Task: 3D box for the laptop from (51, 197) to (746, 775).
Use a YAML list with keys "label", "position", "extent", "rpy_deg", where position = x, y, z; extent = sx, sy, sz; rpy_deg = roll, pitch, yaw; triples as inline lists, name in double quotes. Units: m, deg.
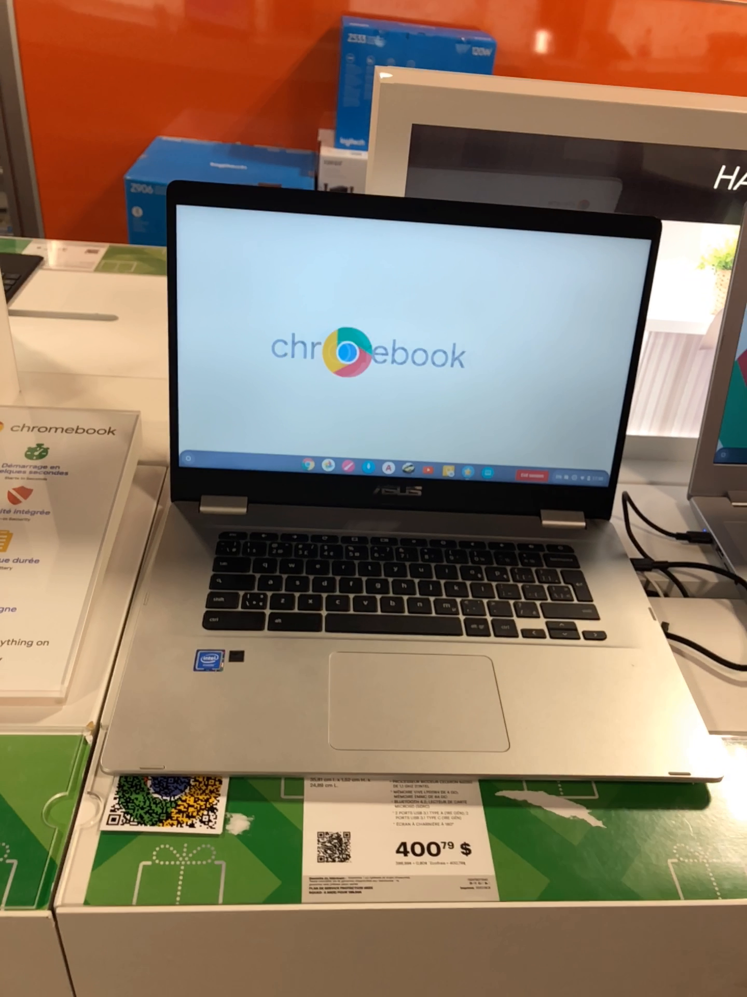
- label: "laptop"
  position: [0.035, -0.024, 0.509]
  extent: [0.337, 0.225, 0.287]
  rpy_deg: [2, 35, -4]
